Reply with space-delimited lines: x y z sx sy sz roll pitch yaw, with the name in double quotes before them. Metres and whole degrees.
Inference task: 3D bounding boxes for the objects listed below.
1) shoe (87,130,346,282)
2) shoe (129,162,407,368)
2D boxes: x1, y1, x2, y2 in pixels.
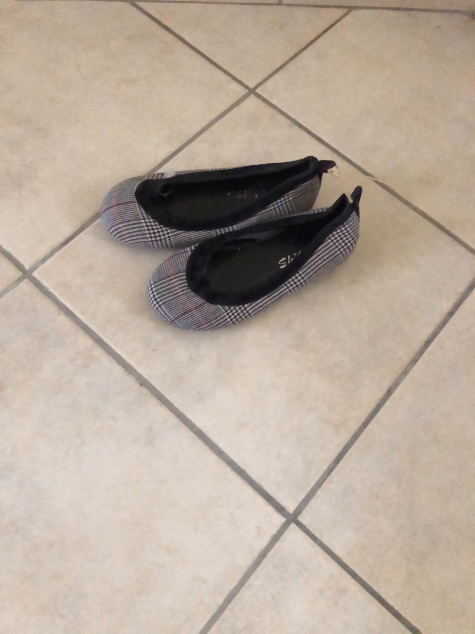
"shoe" -0.021 -0.101 0.480 0.210 0.070 0.090 -8 68 -8
"shoe" 0.025 -0.047 0.458 0.210 0.070 0.090 -23 71 -13
